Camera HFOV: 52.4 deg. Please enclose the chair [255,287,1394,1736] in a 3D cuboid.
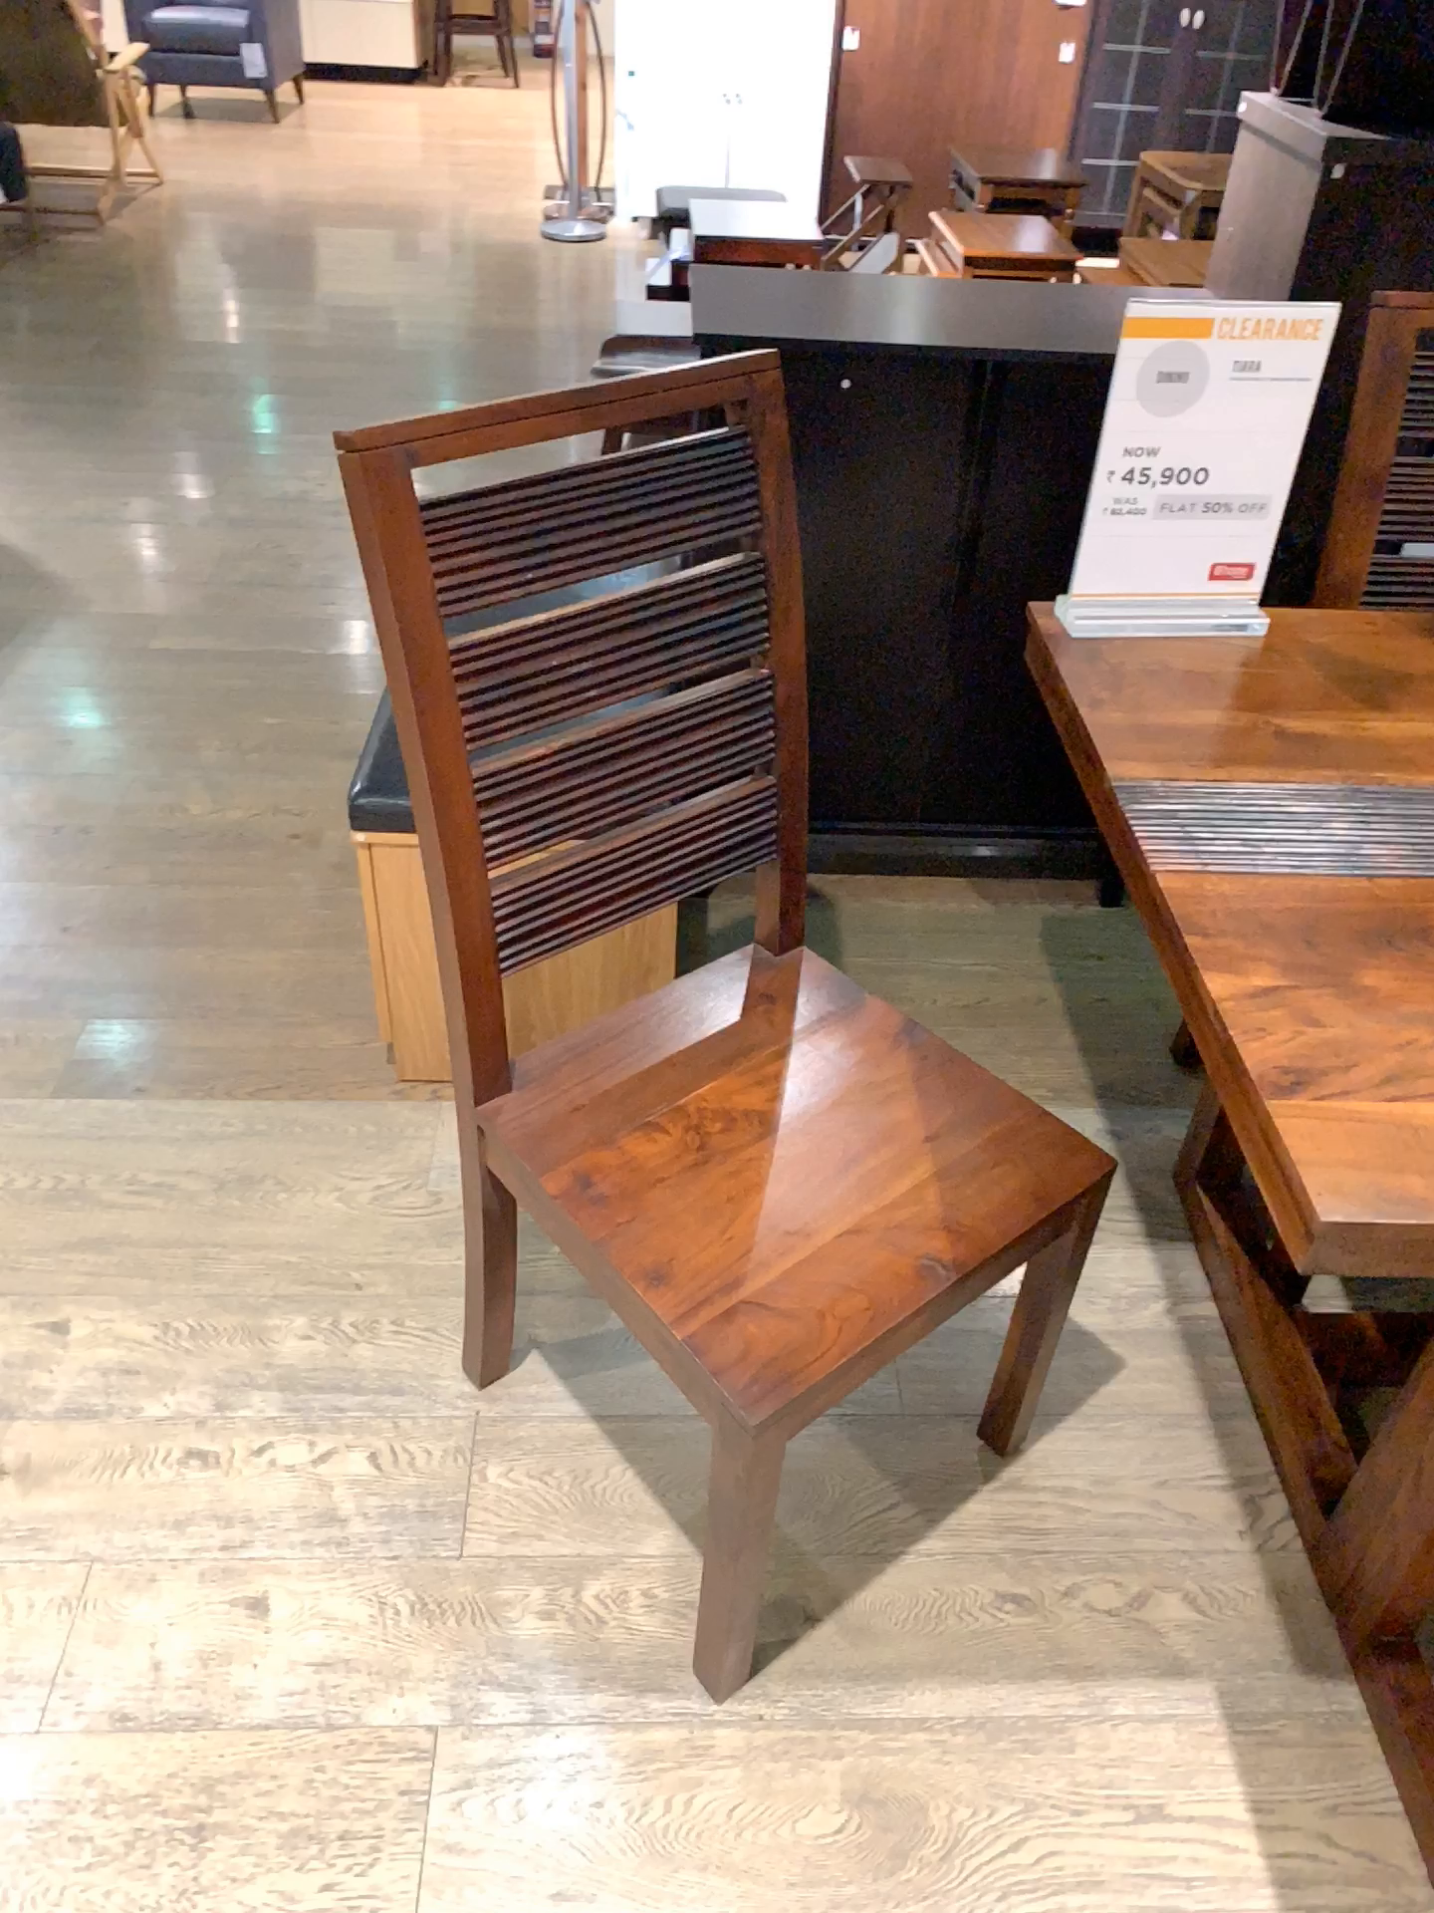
[{"bbox_3d":[0.041,0.050,1.250,0.521,0.996,0.531,-27,47,-34],"label":"chair"}]
